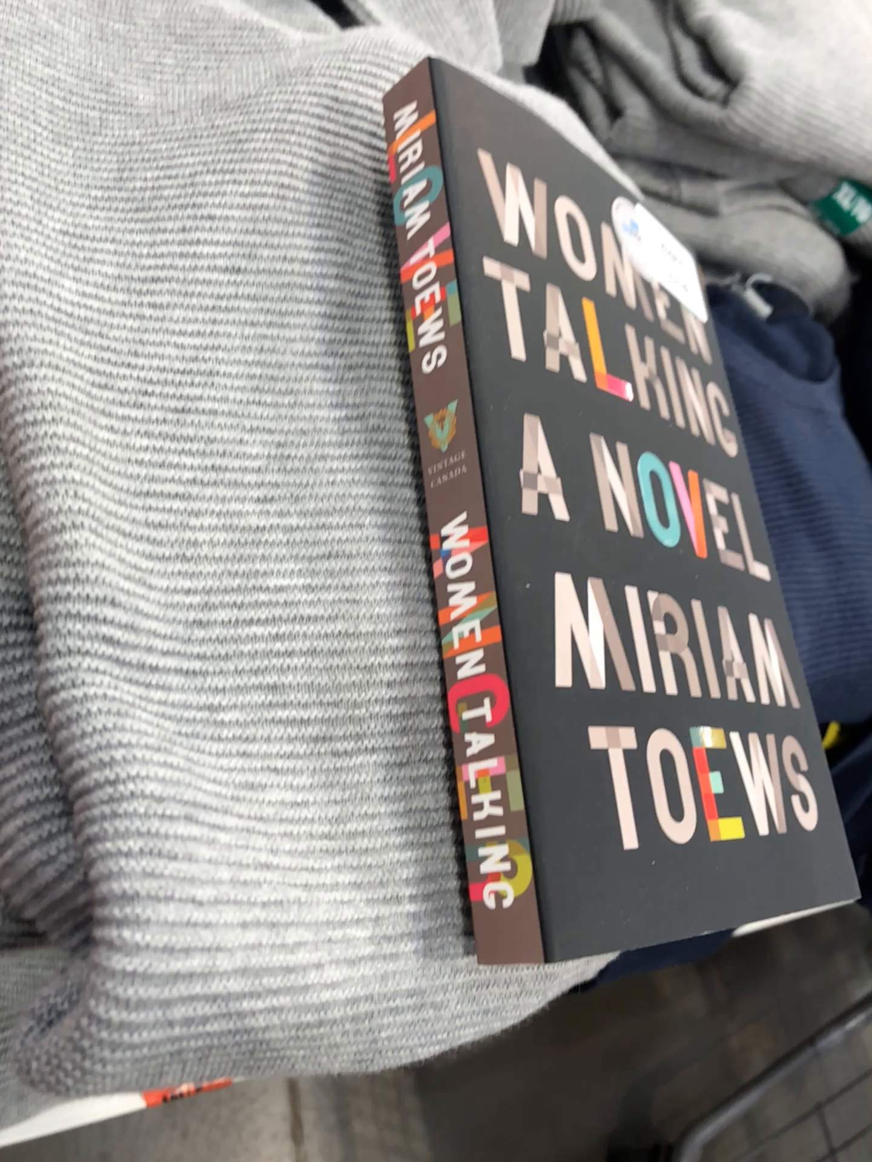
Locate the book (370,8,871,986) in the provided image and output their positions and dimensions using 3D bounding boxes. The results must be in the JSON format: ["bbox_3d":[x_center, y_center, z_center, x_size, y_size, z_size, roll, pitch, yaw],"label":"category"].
[{"bbox_3d":[0.050,-0.020,0.249,0.135,0.020,0.211,10,67,-44],"label":"book"}]
